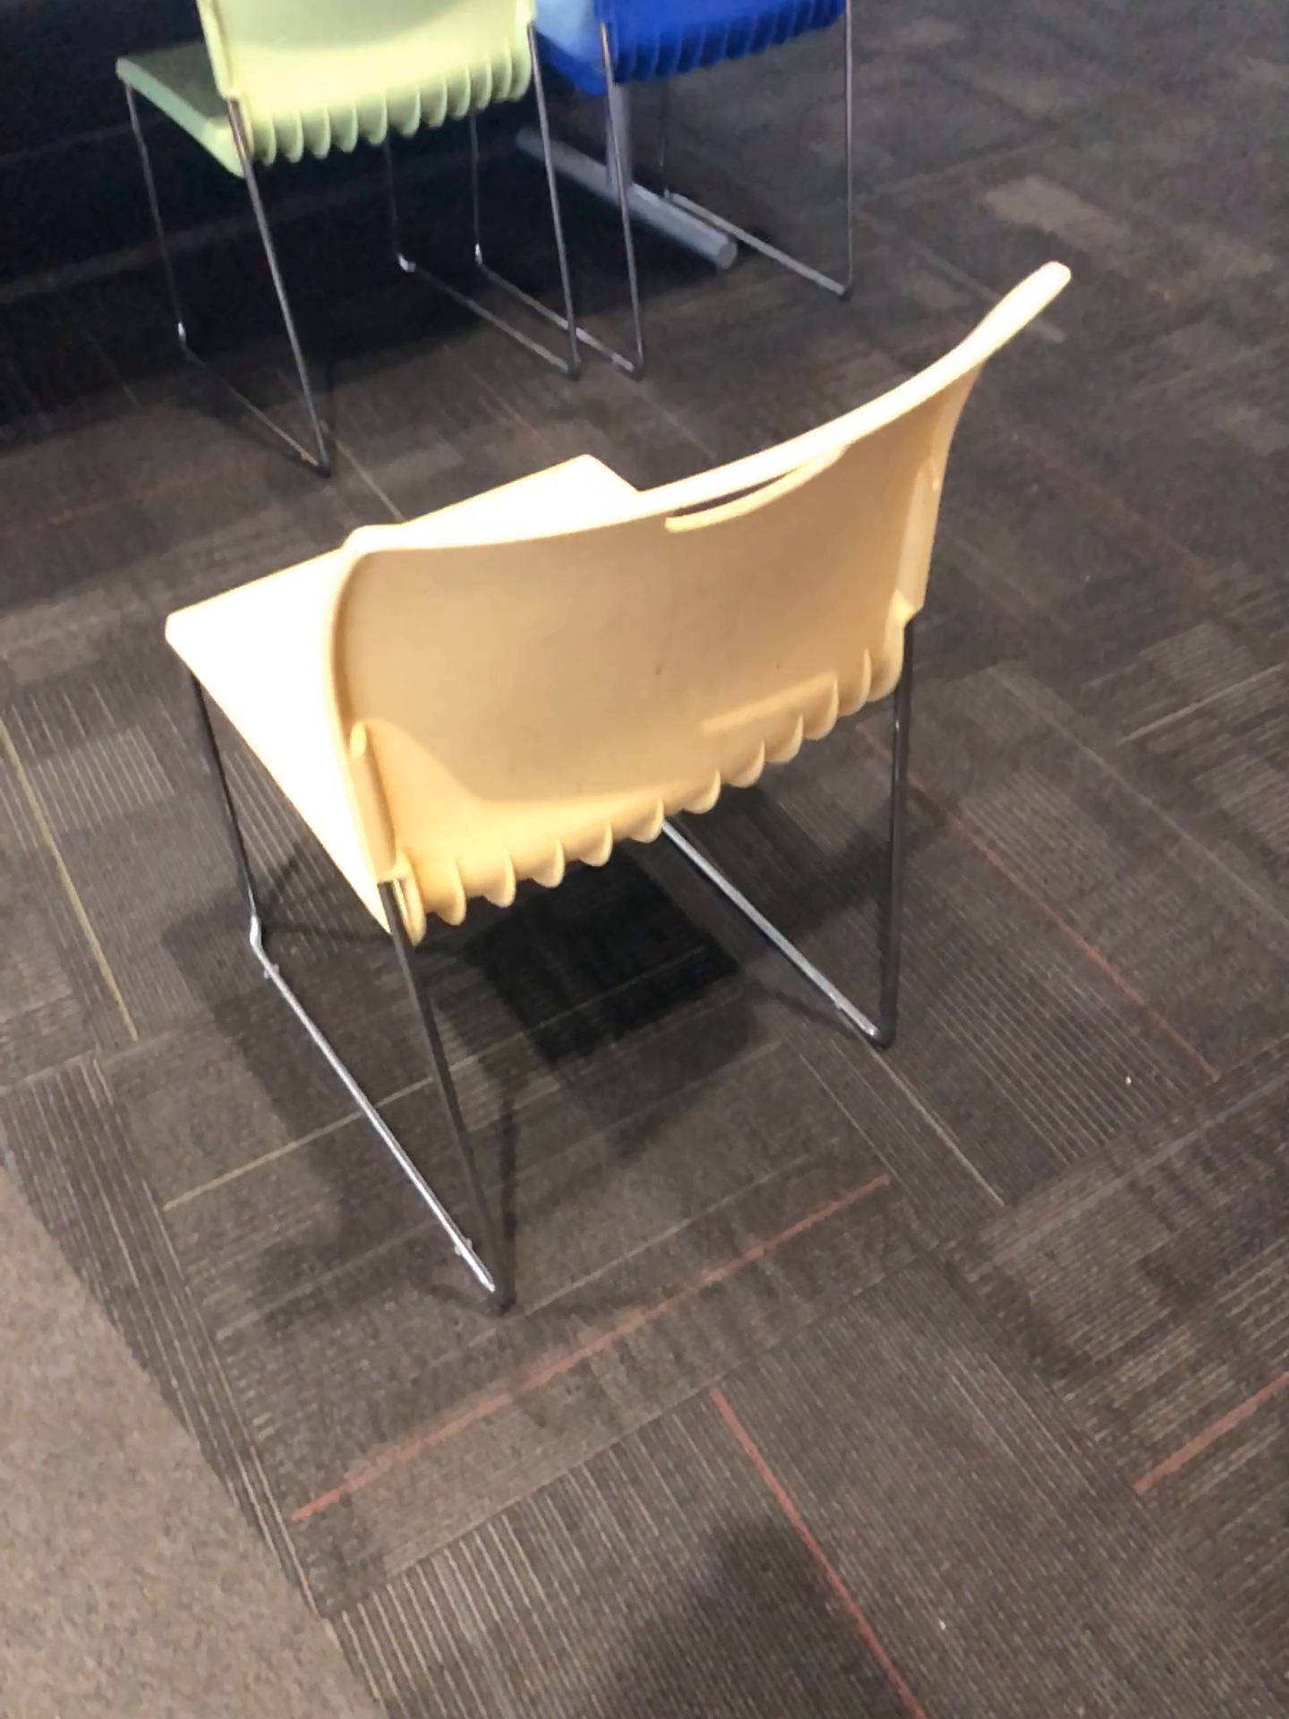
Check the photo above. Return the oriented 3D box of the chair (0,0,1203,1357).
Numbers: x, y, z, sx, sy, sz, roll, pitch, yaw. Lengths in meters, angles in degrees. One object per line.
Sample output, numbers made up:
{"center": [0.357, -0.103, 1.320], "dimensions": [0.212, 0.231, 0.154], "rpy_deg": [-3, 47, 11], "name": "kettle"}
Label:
{"center": [-0.077, -0.147, 1.121], "dimensions": [0.571, 0.737, 0.562], "rpy_deg": [-27, 53, -23], "name": "chair"}
